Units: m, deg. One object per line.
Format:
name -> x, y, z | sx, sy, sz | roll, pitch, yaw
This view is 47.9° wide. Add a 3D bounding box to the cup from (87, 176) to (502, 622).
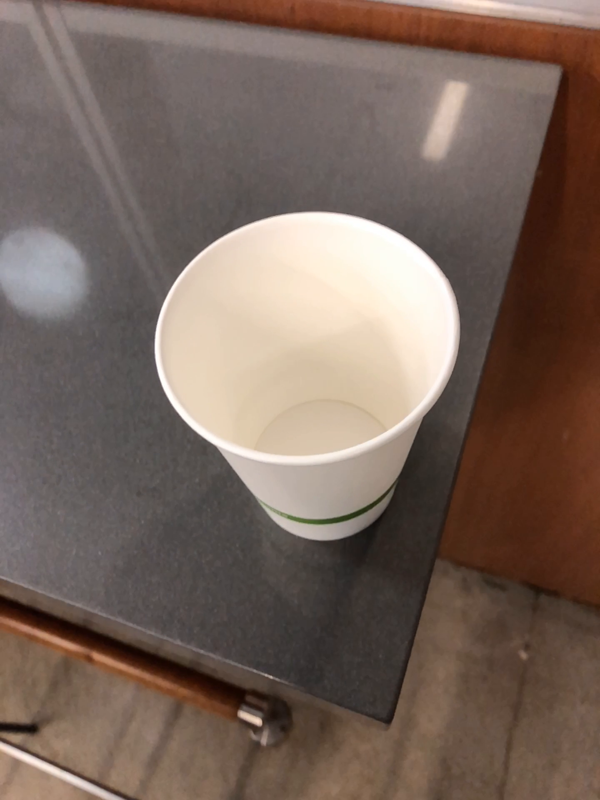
cup -> -0.001, 0.008, 0.239 | 0.090, 0.120, 0.080 | -25, 61, -9
